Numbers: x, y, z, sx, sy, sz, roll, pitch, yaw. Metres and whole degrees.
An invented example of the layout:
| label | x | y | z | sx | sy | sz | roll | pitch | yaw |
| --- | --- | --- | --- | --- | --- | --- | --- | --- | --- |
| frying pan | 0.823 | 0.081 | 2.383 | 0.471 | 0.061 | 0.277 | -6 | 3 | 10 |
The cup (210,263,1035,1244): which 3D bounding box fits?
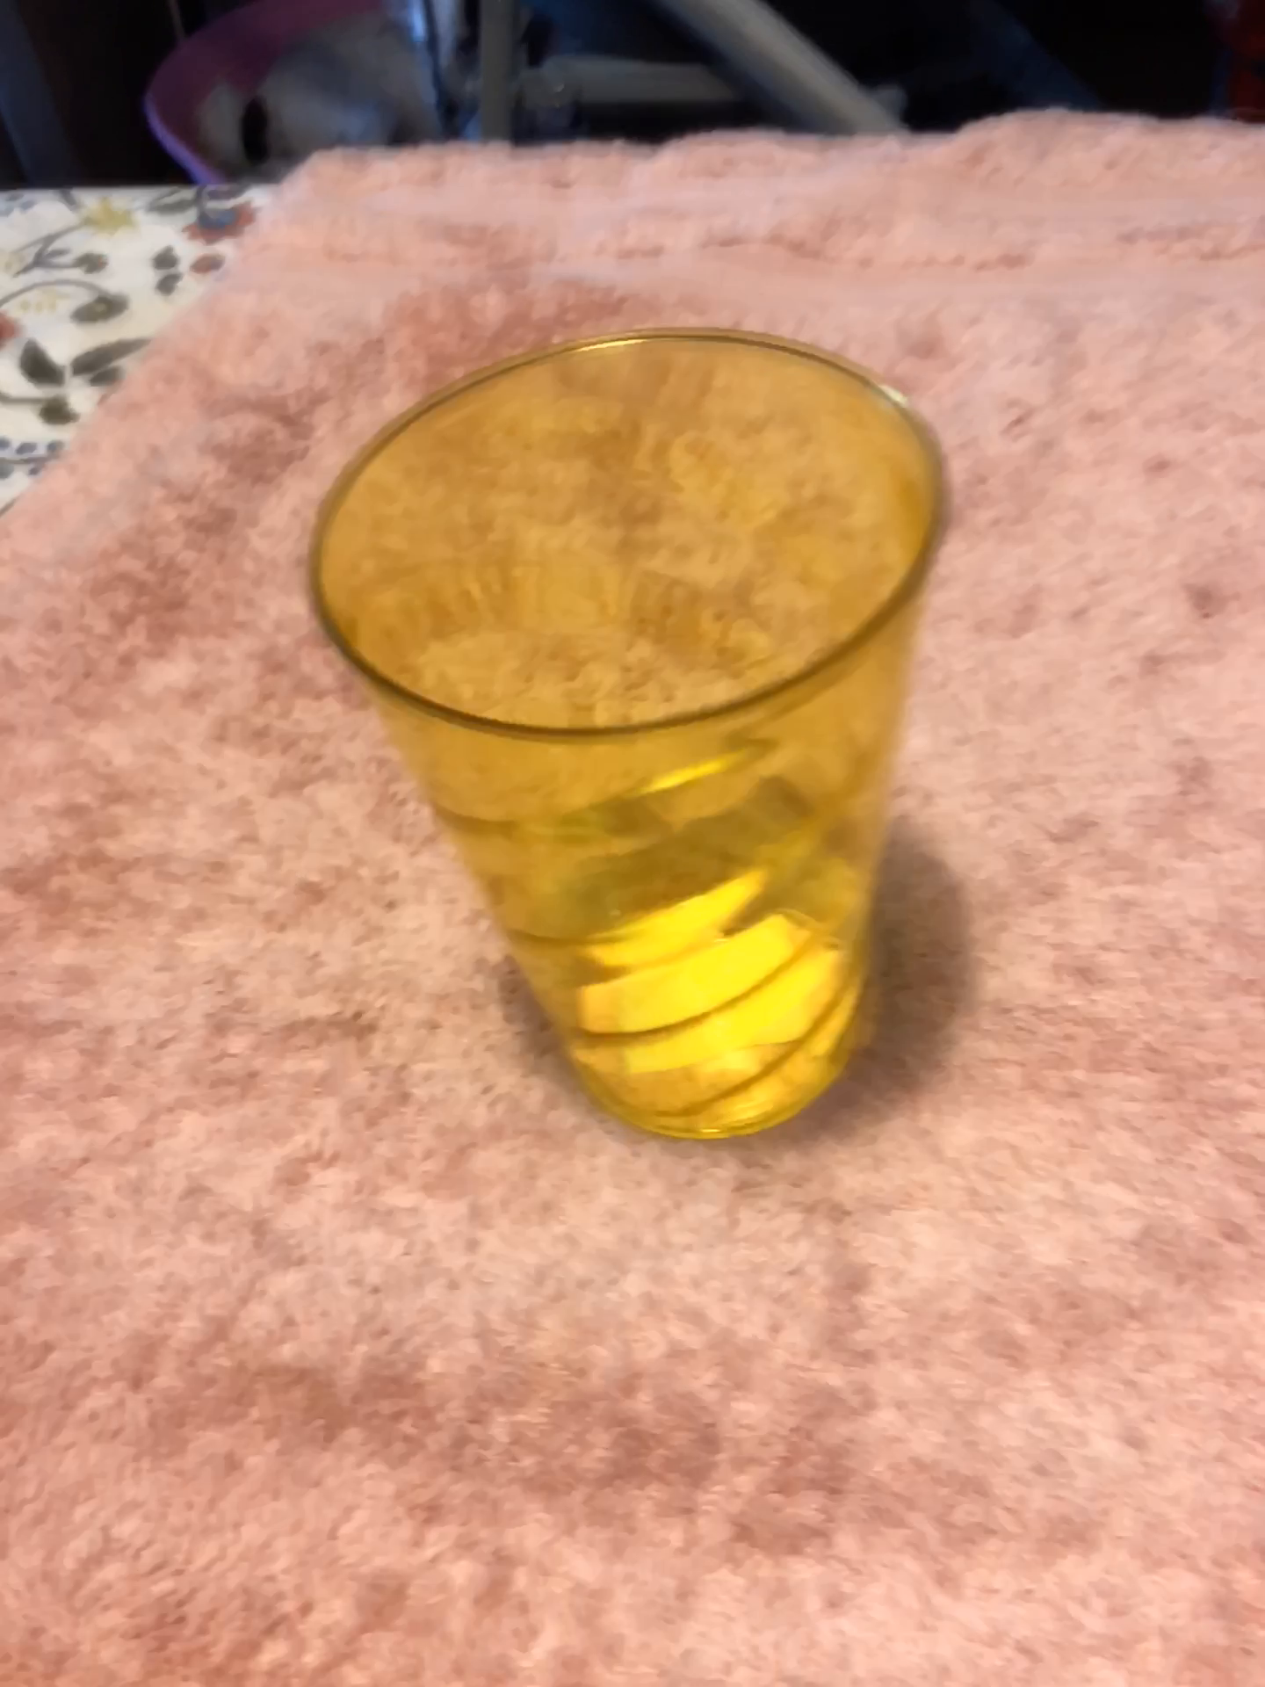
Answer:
| label | x | y | z | sx | sy | sz | roll | pitch | yaw |
| --- | --- | --- | --- | --- | --- | --- | --- | --- | --- |
| cup | 0.007 | -0.011 | 0.224 | 0.080 | 0.119 | 0.080 | -3 | 50 | 4 |
